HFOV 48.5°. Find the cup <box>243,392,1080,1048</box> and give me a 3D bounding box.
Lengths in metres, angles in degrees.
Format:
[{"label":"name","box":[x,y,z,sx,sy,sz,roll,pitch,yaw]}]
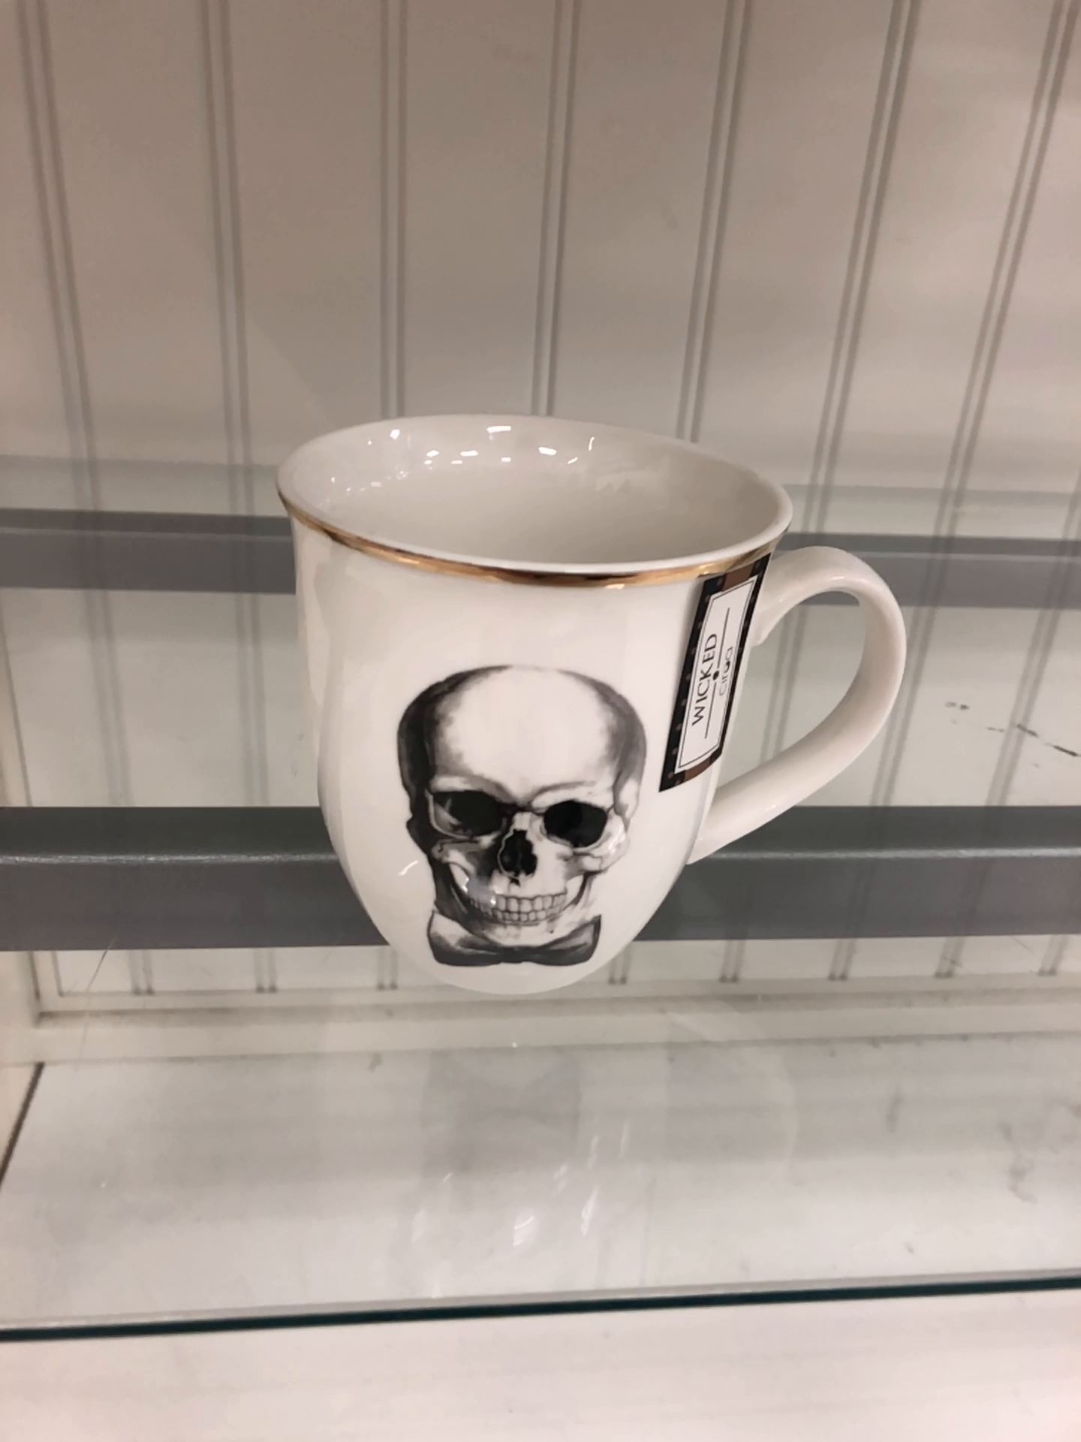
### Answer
[{"label":"cup","box":[0.013,-0.011,0.243,0.131,0.088,0.095,-5,29,-17]}]
